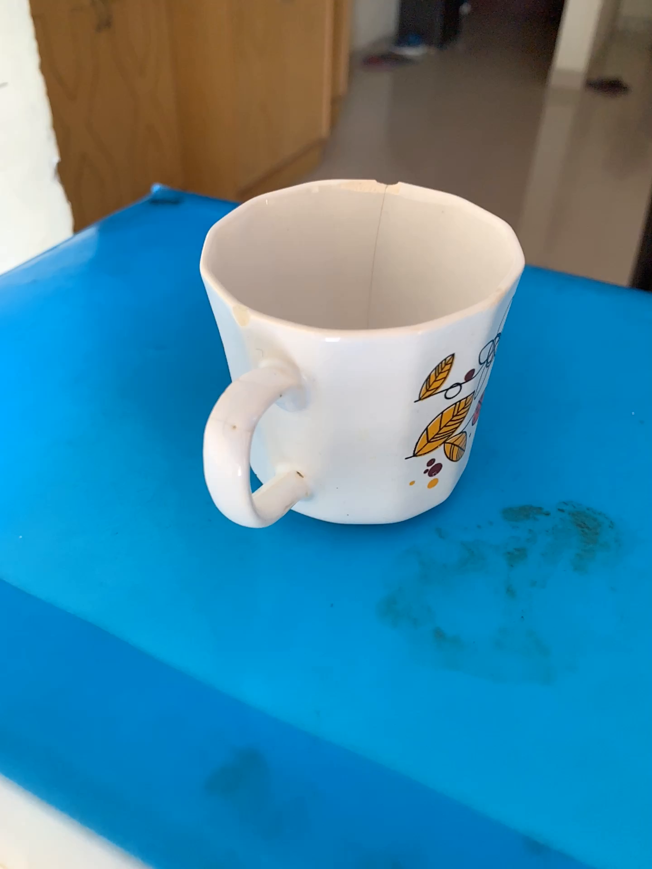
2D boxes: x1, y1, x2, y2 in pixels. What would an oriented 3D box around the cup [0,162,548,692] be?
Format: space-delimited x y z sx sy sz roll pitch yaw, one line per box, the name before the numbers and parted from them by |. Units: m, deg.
cup | -0.008 -0.013 0.160 0.070 0.060 0.101 25 44 26
